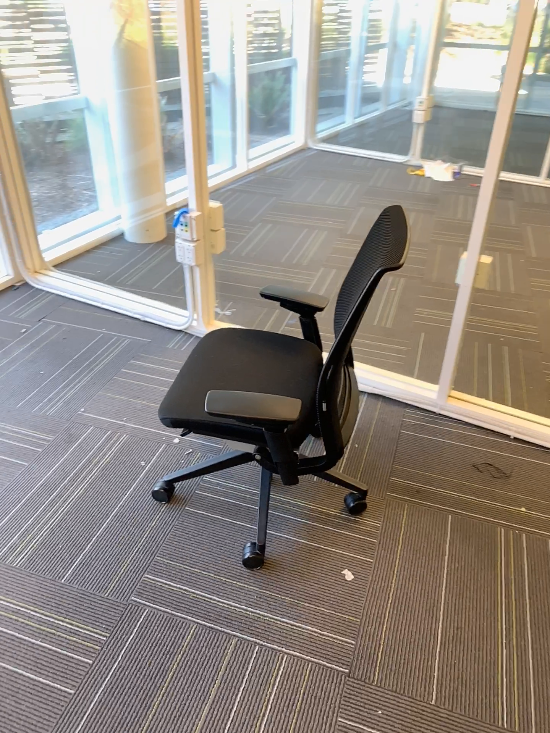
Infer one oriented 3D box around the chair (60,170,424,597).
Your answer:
[{"bbox_3d":[-0.023,0.007,1.606,0.711,0.874,0.694,9,34,11],"label":"chair"}]
